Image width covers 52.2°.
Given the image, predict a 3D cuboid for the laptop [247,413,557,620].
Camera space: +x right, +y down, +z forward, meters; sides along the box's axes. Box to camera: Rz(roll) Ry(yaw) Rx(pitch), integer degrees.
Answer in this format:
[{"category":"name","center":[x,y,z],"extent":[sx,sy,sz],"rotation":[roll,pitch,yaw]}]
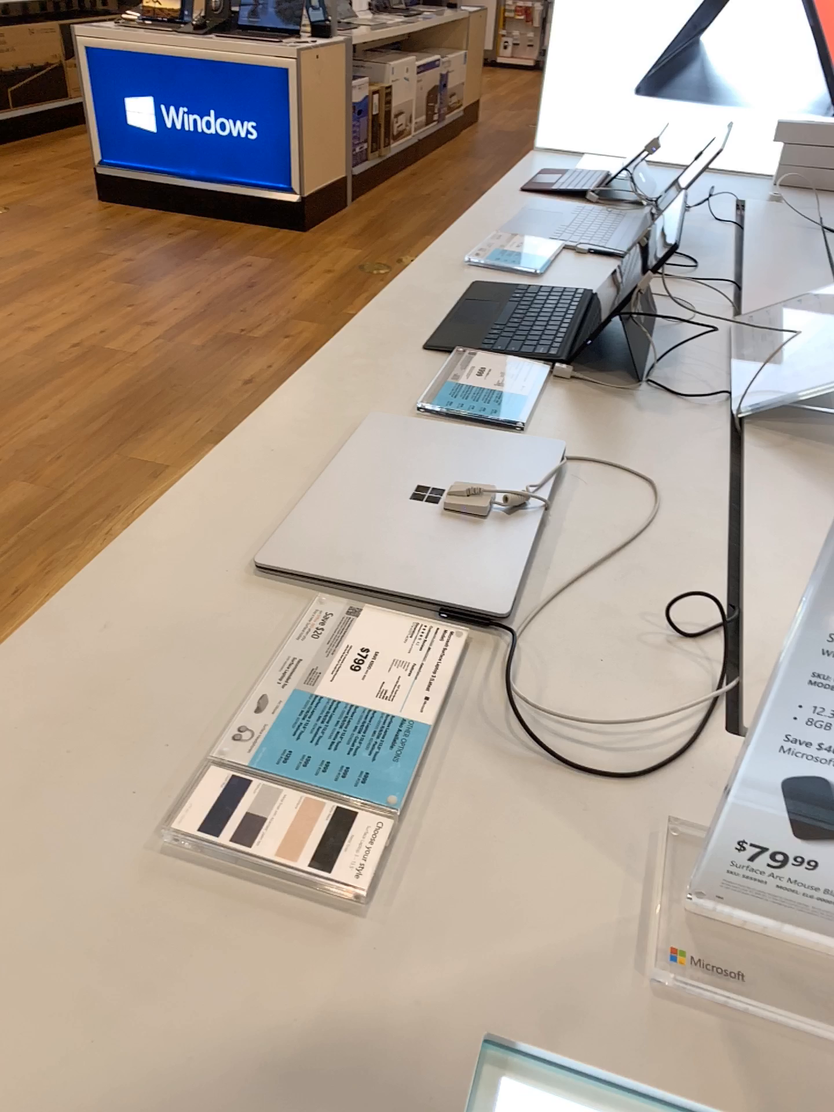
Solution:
[{"category":"laptop","center":[0.002,-0.055,0.826],"extent":[0.220,0.008,0.298],"rotation":[11,37,13]}]
